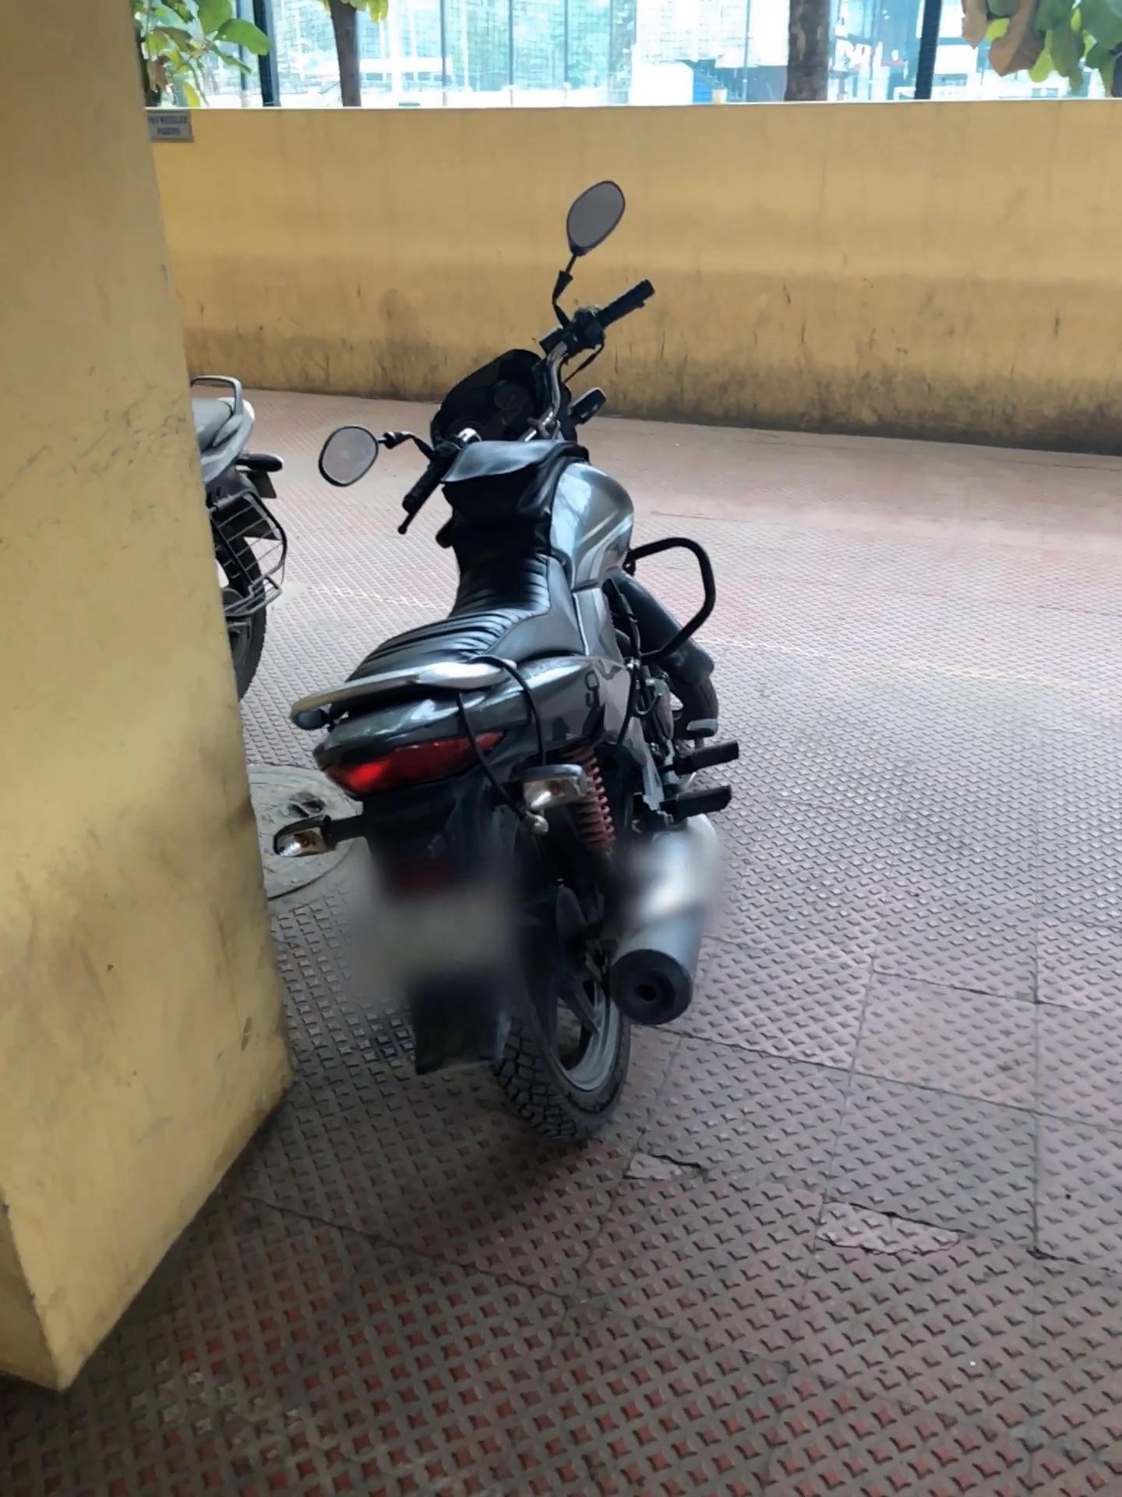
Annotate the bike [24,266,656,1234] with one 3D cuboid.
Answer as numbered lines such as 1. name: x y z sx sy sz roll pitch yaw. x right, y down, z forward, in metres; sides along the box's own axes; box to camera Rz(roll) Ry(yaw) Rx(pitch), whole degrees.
1. bike: -0.209 -0.167 2.260 0.720 1.166 1.476 1 28 4
